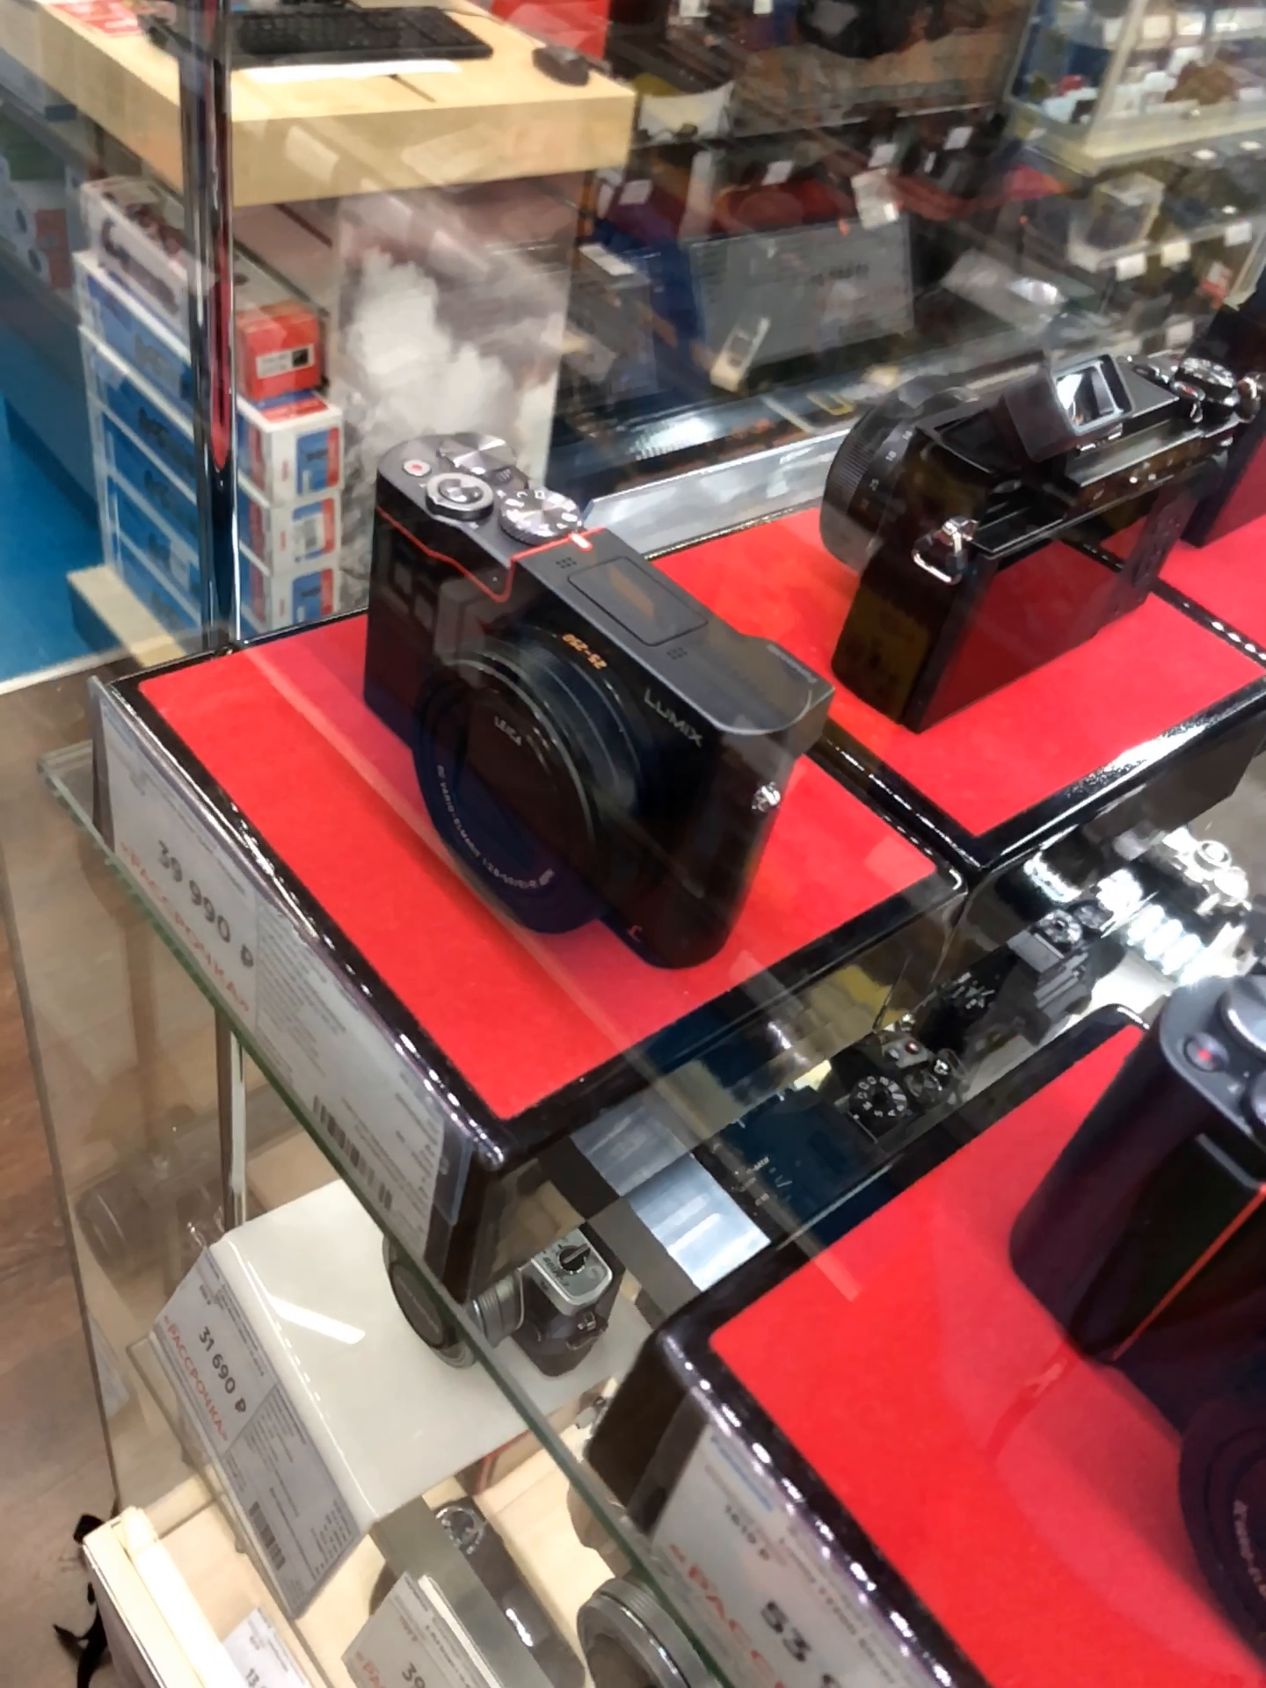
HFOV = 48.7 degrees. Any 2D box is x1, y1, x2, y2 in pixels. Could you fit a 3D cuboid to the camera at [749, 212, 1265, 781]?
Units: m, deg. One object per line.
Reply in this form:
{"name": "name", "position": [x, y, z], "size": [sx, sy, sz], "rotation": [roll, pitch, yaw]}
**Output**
{"name": "camera", "position": [0.105, -0.093, 0.365], "size": [0.113, 0.101, 0.069], "rotation": [-27, 56, -35]}

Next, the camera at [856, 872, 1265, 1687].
{"name": "camera", "position": [0.097, 0.073, 0.194], "size": [0.051, 0.070, 0.113], "rotation": [-22, 54, -32]}

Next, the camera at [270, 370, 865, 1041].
{"name": "camera", "position": [-0.021, -0.031, 0.277], "size": [0.050, 0.070, 0.113], "rotation": [-25, 55, -34]}
